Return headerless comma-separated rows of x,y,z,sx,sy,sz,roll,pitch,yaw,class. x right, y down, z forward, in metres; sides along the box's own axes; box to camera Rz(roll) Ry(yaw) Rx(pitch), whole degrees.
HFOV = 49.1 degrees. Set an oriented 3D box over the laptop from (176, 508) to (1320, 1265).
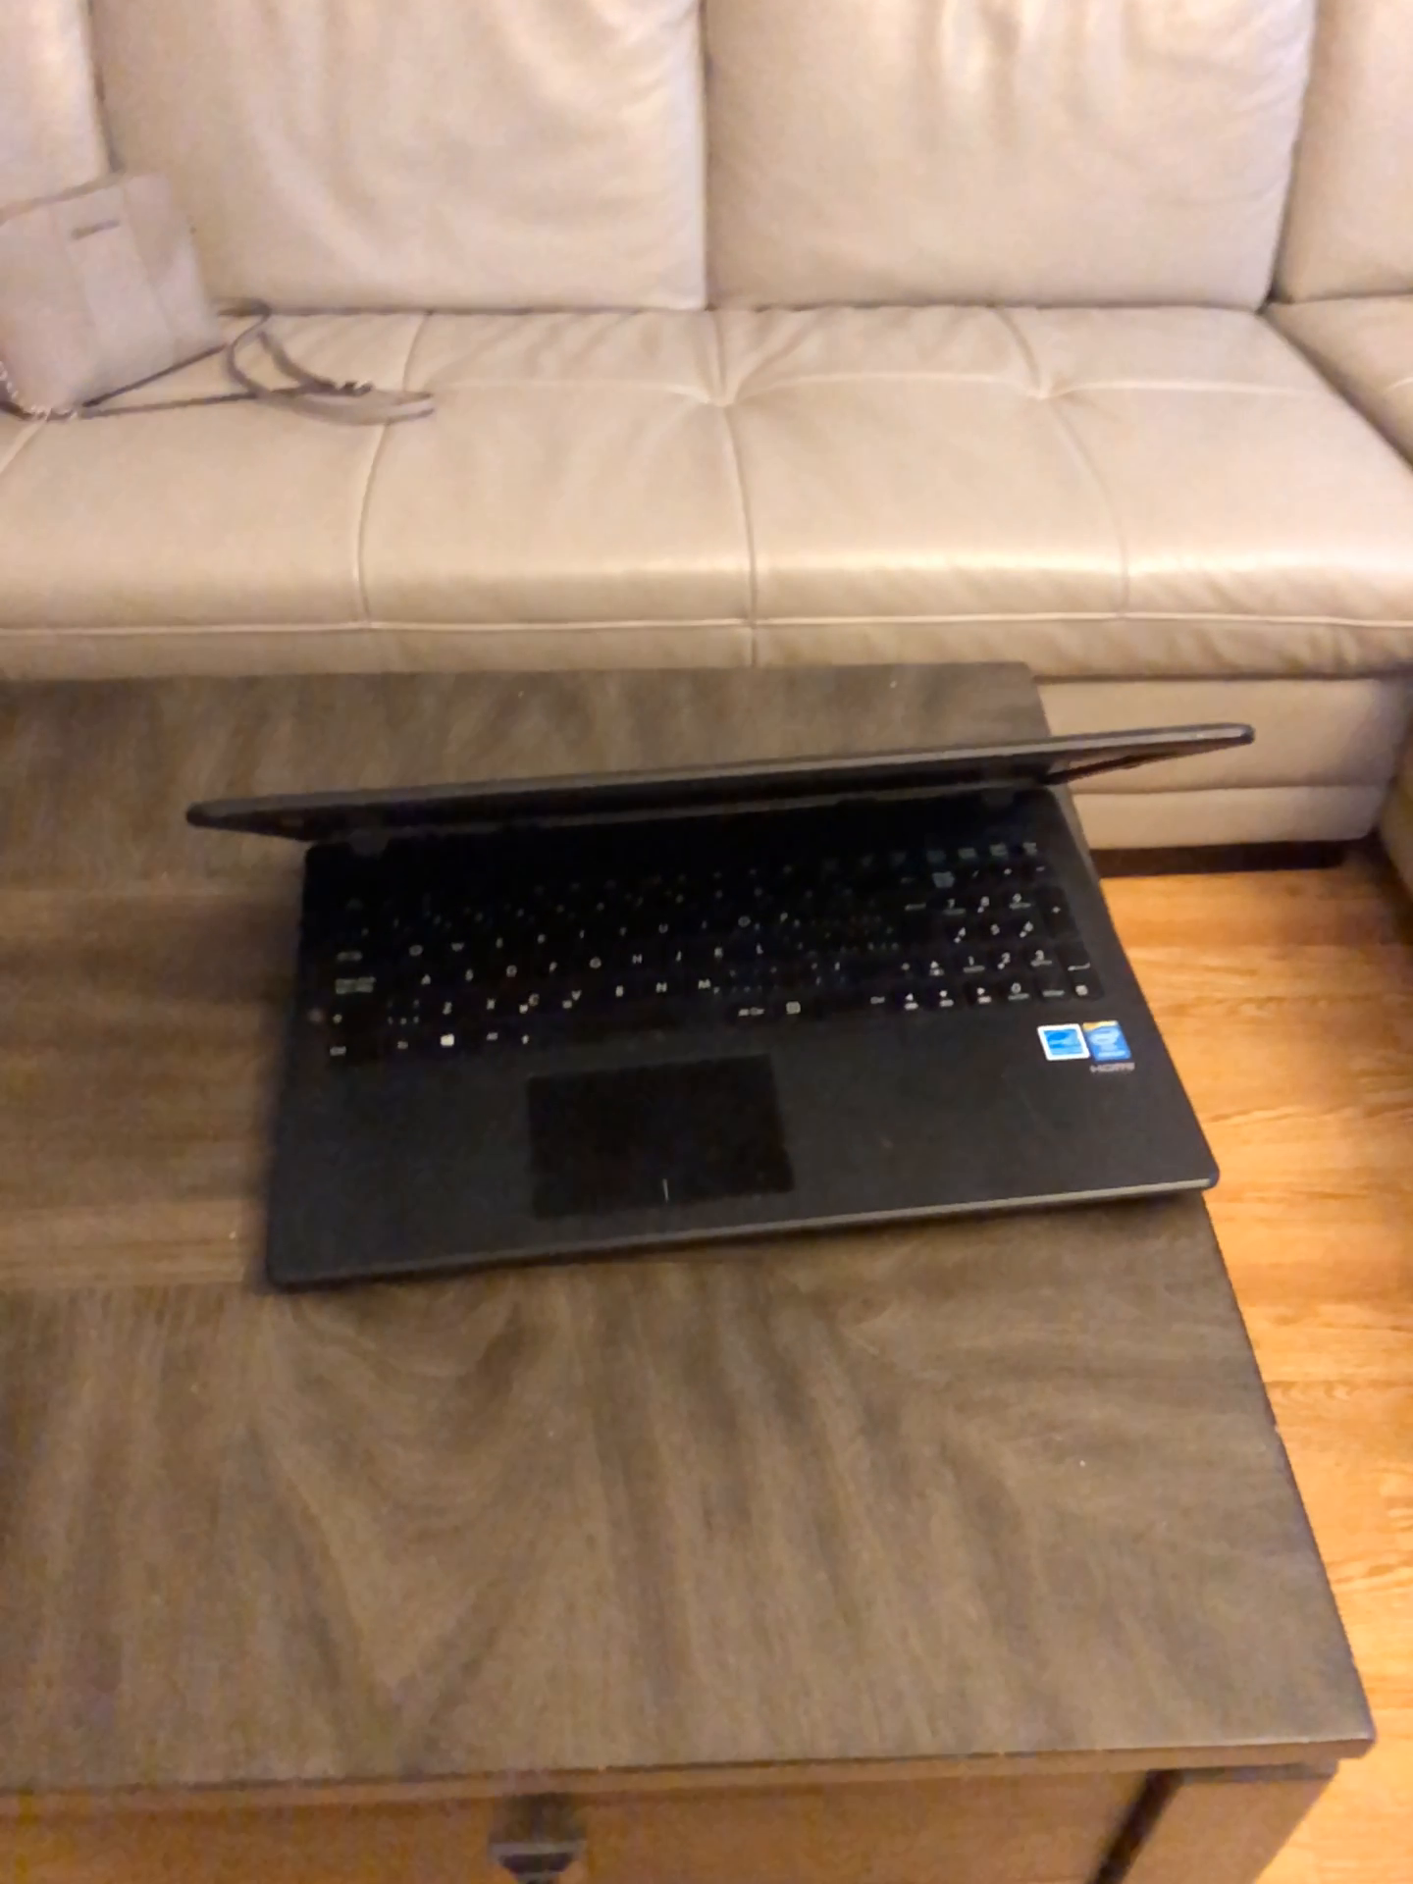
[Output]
0.004,-0.034,0.638,0.372,0.164,0.239,-5,45,-5,laptop
